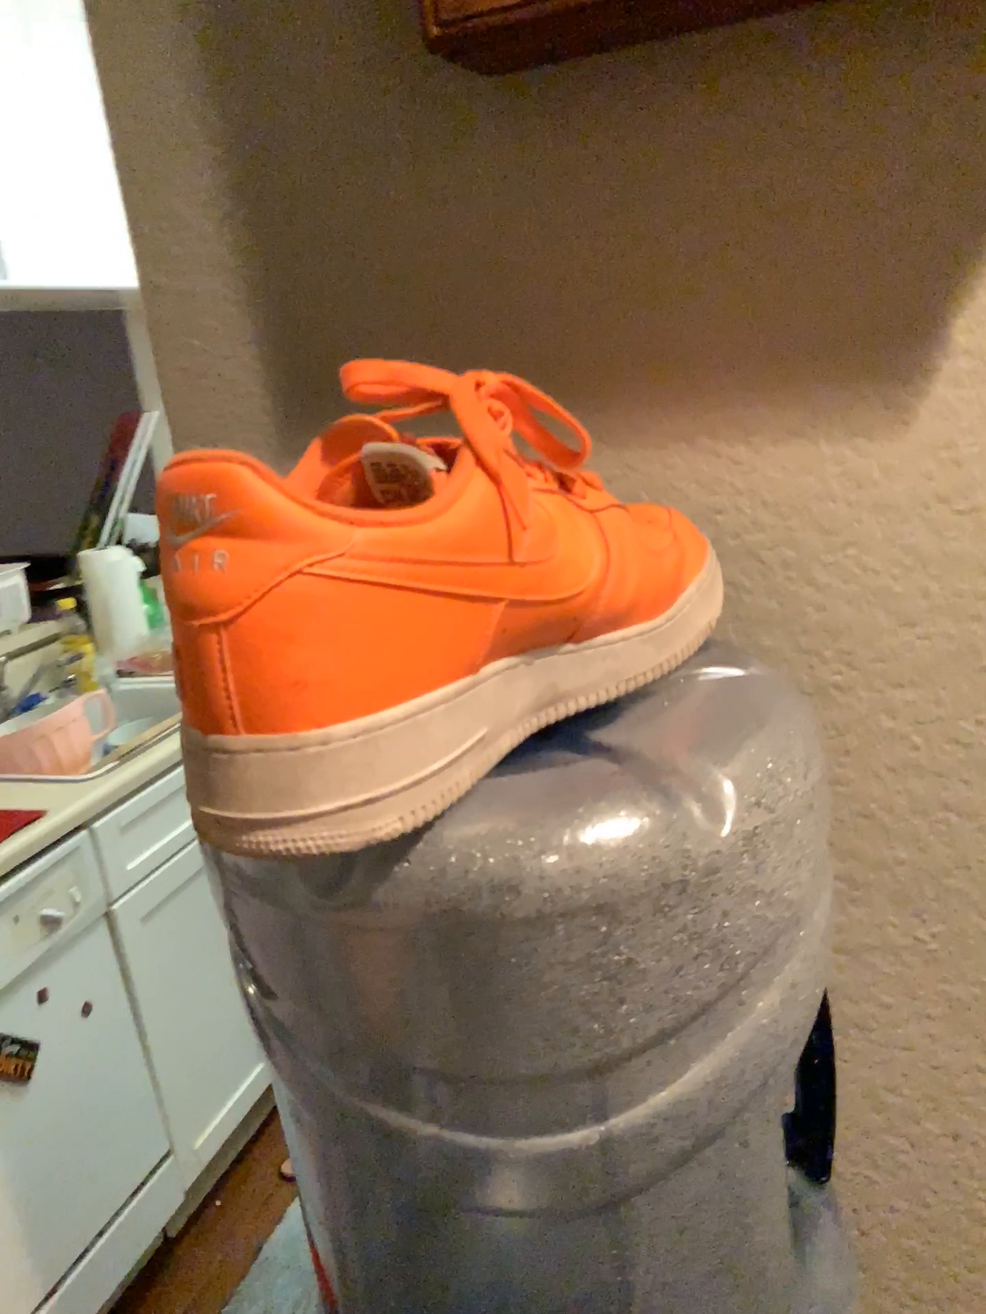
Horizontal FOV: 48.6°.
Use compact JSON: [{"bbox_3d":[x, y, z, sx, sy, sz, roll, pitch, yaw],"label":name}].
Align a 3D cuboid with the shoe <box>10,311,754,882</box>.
[{"bbox_3d":[-0.006,-0.051,0.429,0.120,0.140,0.300,2,17,31],"label":"shoe"}]
